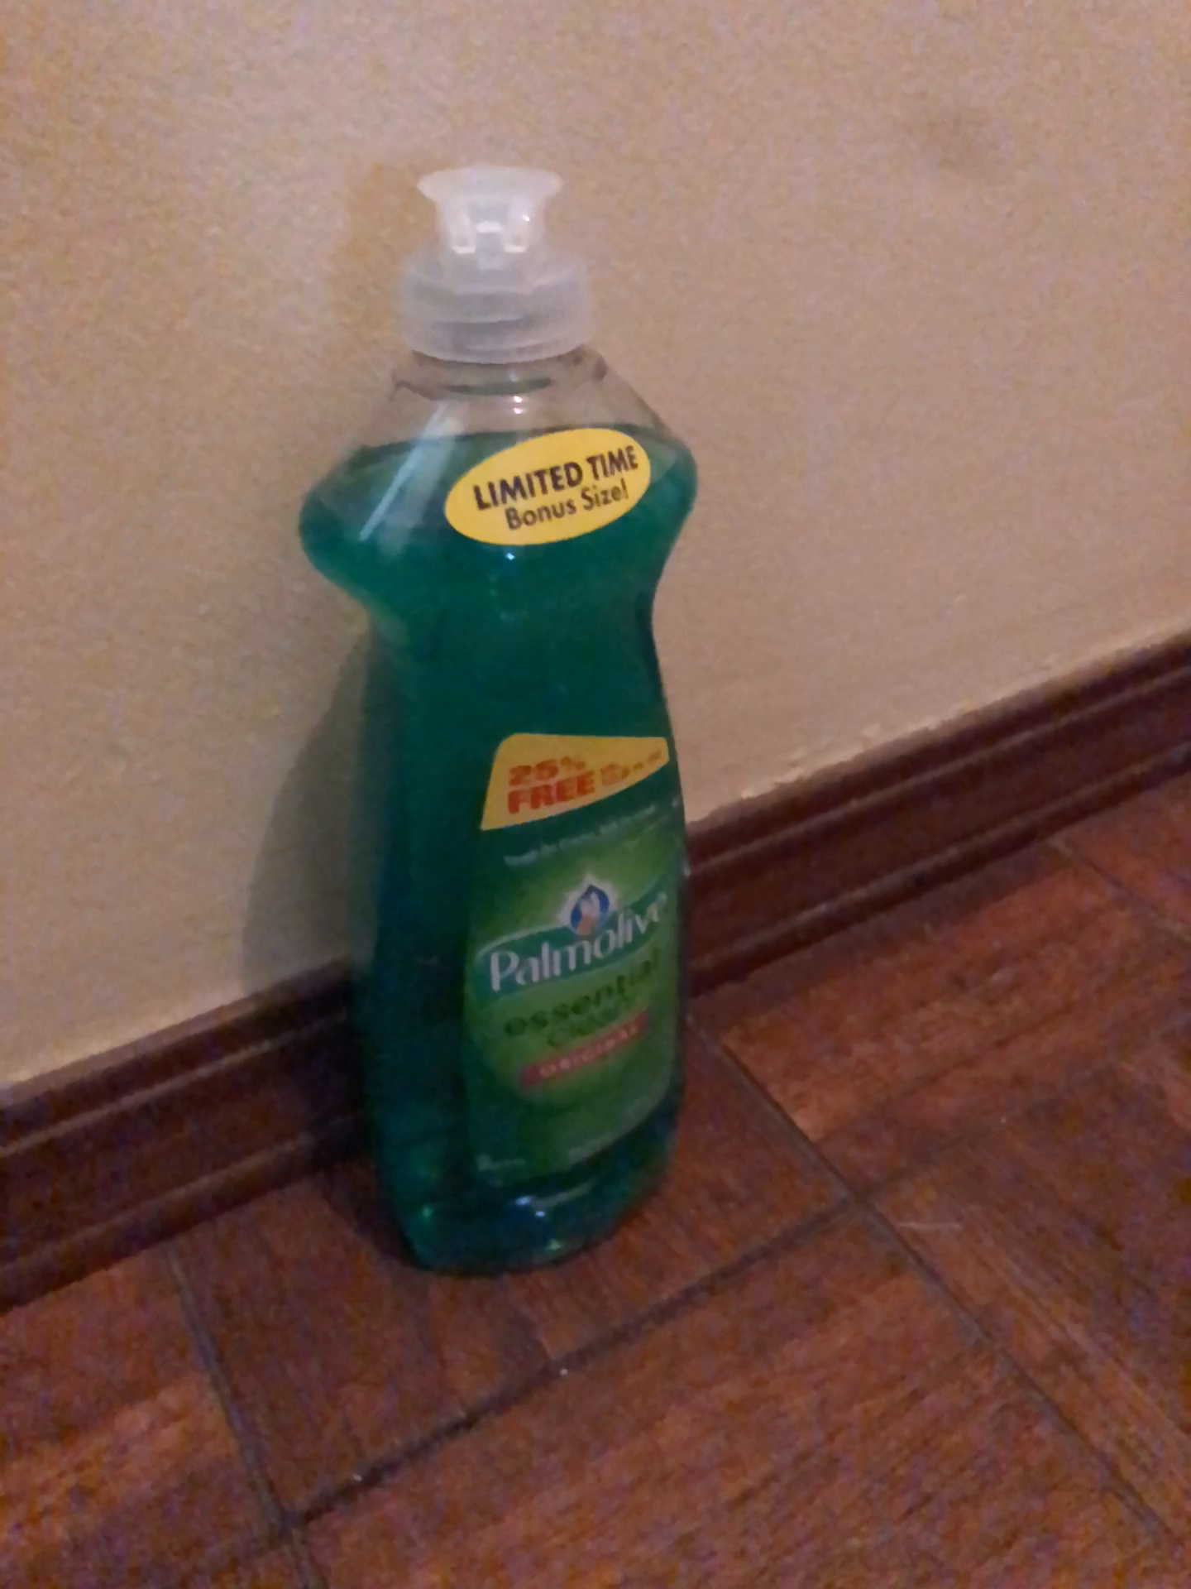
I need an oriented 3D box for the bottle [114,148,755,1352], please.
[{"bbox_3d":[-0.022,0.006,0.264,0.080,0.229,0.050,-22,41,-26],"label":"bottle"}]
